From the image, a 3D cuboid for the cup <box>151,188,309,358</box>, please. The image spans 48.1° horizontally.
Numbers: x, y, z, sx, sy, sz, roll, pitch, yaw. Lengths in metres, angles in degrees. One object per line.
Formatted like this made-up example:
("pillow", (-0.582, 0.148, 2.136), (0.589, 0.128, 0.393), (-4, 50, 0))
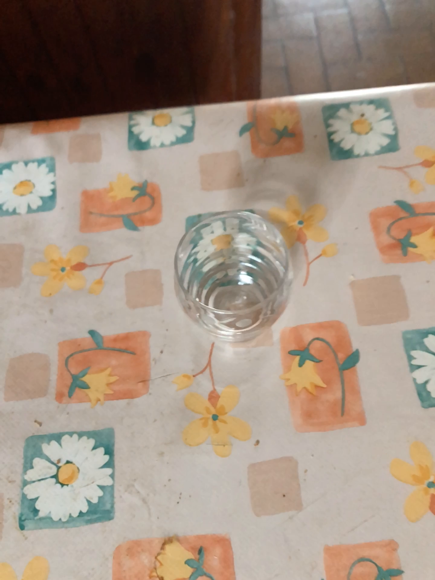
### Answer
("cup", (0.007, -0.006, 0.220), (0.060, 0.050, 0.060), (-2, 66, 4))
